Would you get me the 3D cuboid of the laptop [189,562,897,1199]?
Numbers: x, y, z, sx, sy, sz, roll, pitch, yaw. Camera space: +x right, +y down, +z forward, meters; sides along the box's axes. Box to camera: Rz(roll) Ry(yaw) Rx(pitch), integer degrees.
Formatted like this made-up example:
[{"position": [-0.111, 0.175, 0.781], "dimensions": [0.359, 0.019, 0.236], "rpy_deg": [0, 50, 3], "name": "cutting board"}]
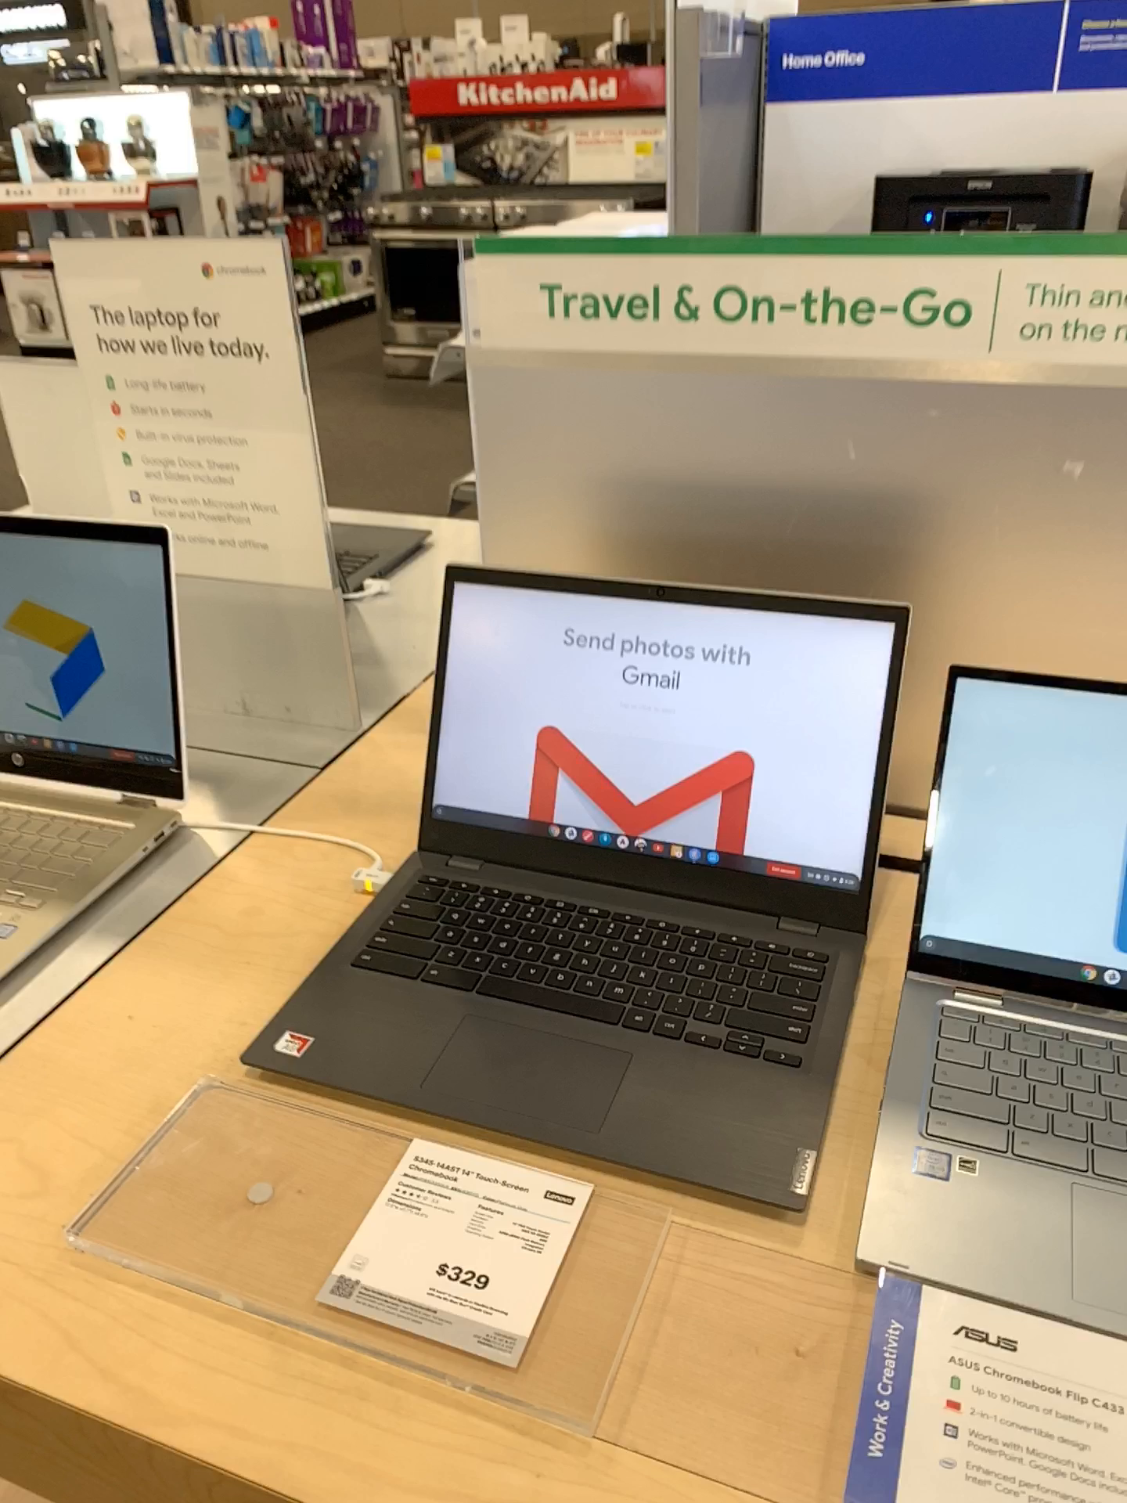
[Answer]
[{"position": [0.014, 0.041, 0.690], "dimensions": [0.310, 0.188, 0.300], "rpy_deg": [9, 31, 19], "name": "laptop"}]
